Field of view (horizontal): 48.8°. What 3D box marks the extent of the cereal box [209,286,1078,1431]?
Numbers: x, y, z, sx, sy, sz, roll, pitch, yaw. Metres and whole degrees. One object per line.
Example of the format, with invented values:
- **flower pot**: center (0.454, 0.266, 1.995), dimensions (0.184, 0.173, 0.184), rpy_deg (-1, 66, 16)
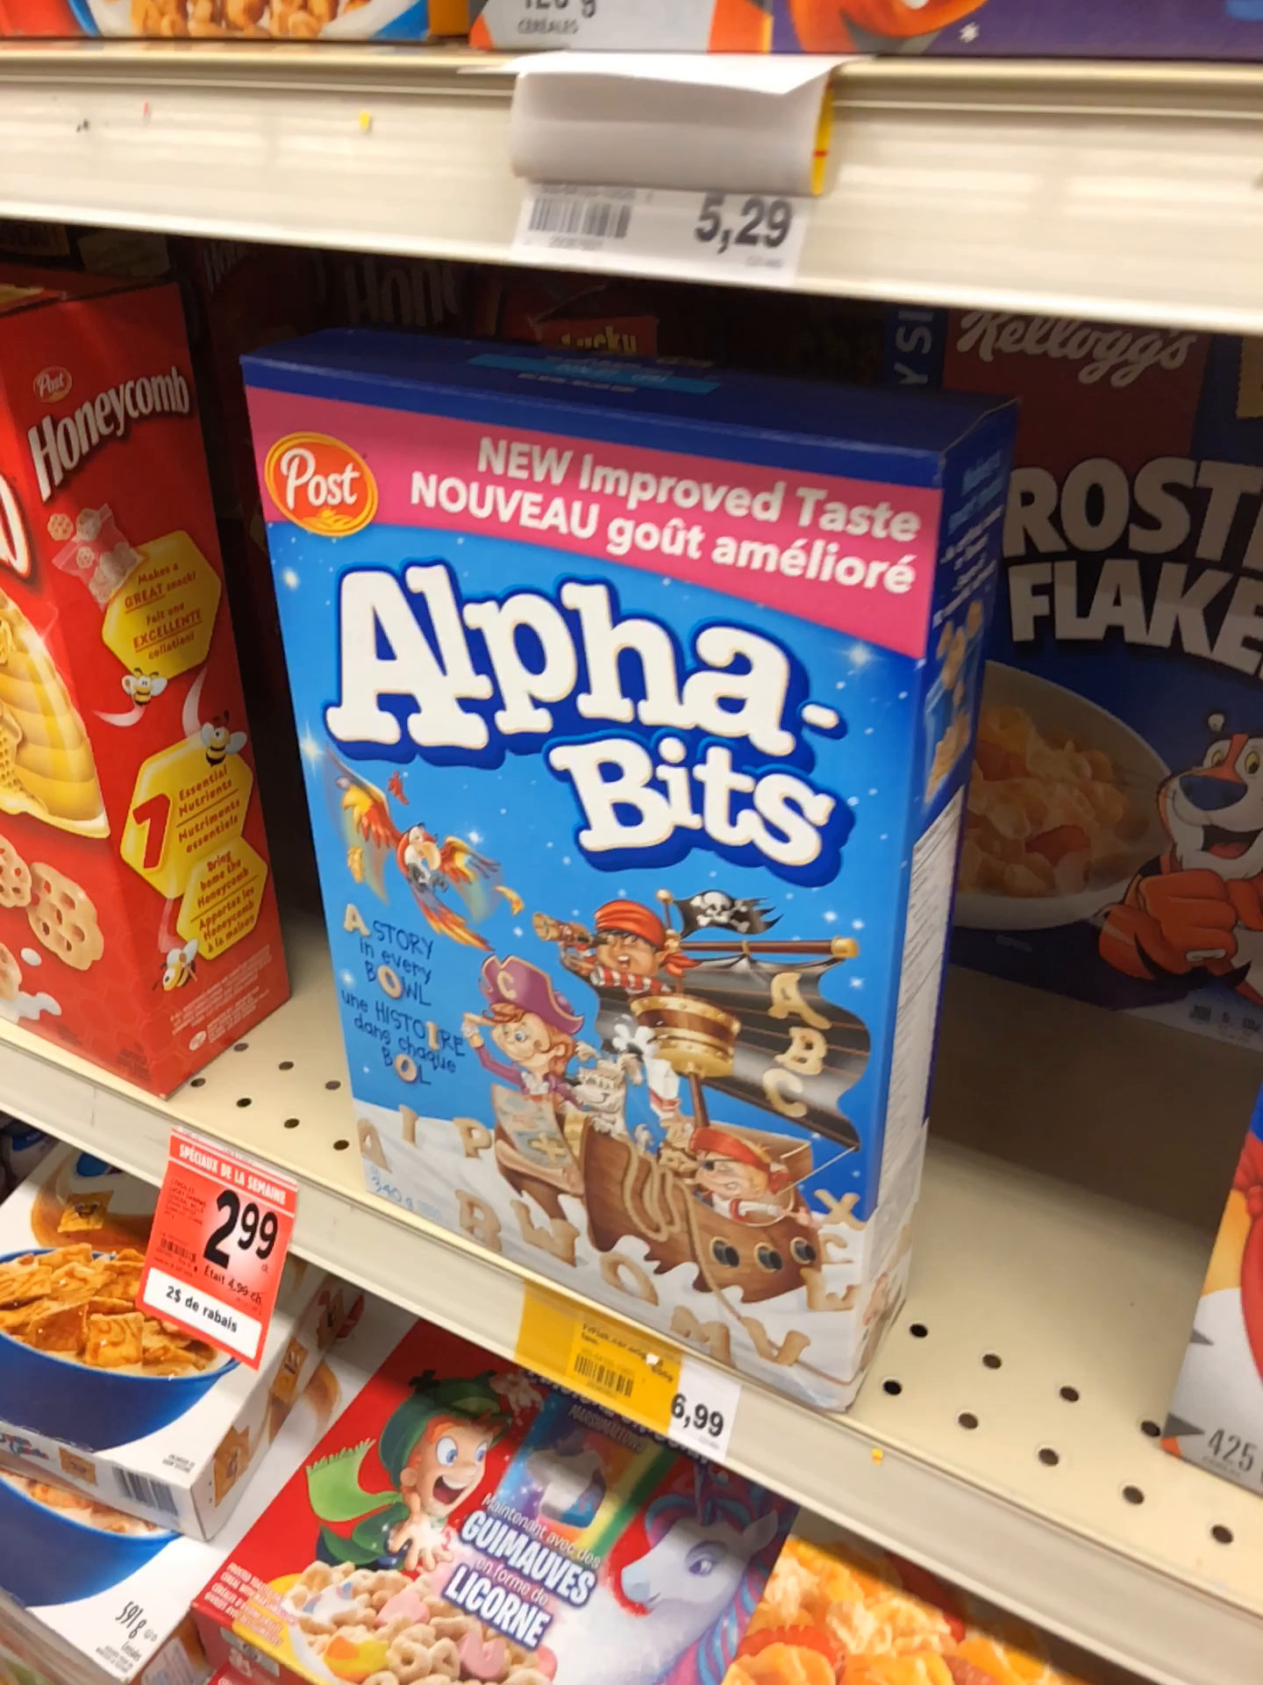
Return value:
- **cereal box**: center (-0.001, 0.011, 0.405), dimensions (0.200, 0.298, 0.060), rpy_deg (18, 38, 27)
